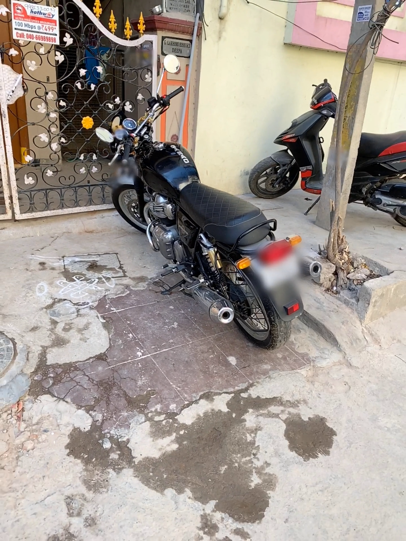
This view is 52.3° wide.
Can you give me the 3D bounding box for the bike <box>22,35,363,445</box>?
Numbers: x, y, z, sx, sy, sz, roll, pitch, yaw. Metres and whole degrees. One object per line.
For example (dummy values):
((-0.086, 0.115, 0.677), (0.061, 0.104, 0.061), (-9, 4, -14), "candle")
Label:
((-0.271, -0.391, 2.479), (0.792, 1.522, 1.909), (-14, 34, -36), "bike")
